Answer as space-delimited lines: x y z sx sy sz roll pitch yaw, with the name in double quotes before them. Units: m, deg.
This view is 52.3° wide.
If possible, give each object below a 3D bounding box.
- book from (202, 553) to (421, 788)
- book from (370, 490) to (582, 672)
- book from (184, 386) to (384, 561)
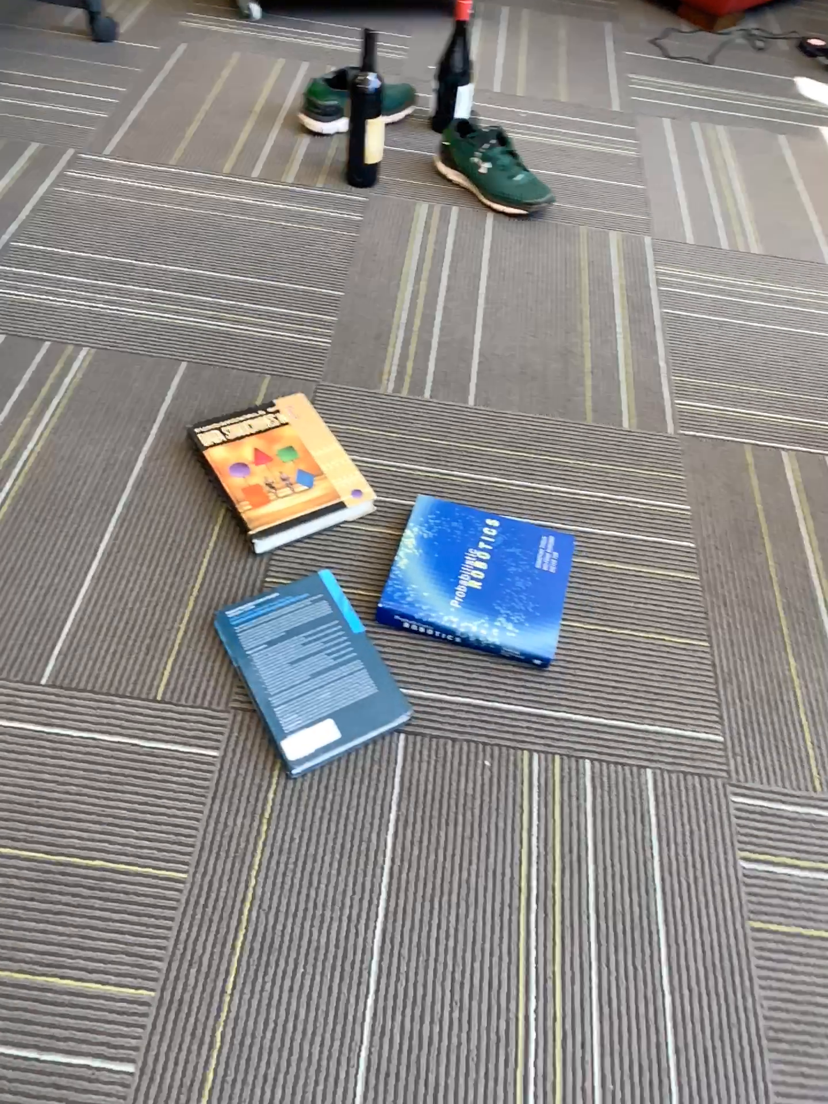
"book" -0.128 0.133 1.020 0.170 0.040 0.248 -21 60 -22
"book" 0.088 0.033 1.133 0.245 0.040 0.206 15 51 5
"book" -0.188 -0.121 1.200 0.191 0.040 0.248 -22 57 -23
